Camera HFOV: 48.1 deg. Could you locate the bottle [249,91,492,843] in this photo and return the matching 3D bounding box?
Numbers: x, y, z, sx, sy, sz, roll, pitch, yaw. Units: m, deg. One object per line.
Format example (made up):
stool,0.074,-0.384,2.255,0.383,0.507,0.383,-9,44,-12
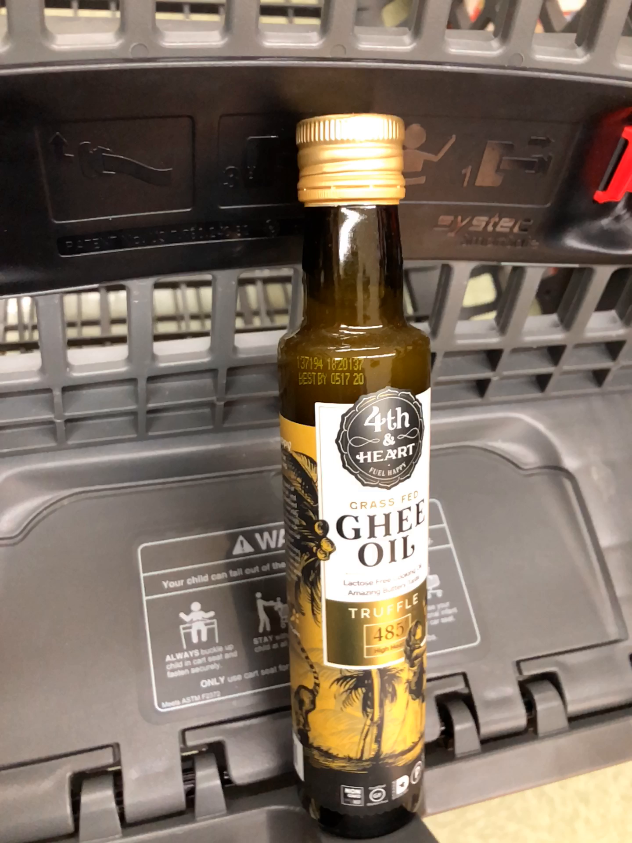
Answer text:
bottle,0.016,0.032,0.234,0.054,0.050,0.250,-6,108,-15
